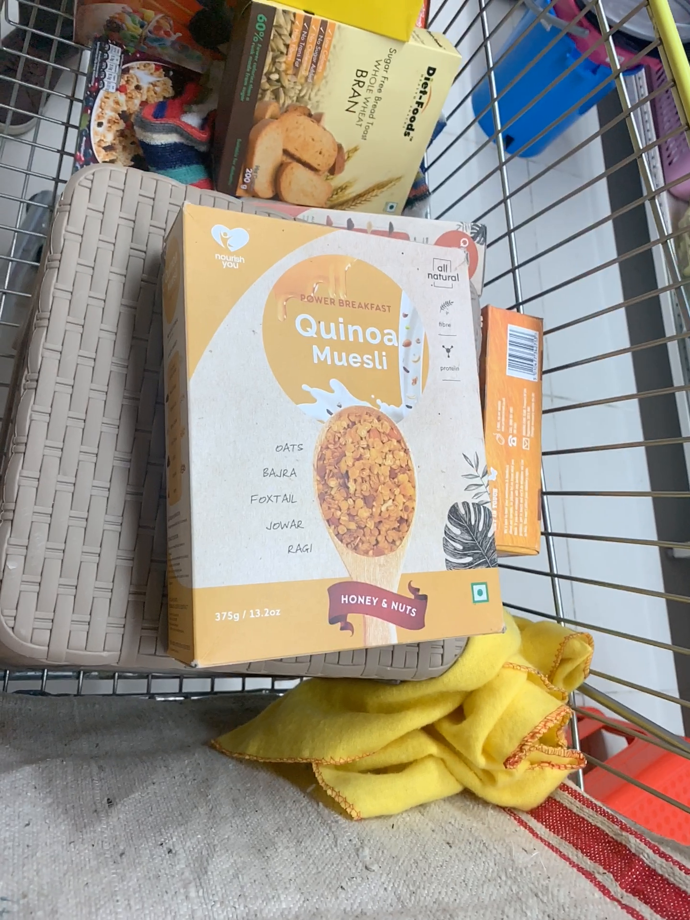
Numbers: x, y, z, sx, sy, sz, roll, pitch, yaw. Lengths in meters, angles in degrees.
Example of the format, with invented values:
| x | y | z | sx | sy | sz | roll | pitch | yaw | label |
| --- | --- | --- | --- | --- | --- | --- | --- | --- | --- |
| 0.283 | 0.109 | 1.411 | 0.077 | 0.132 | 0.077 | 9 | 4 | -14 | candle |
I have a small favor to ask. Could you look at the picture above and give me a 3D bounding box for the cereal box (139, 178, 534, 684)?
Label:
| x | y | z | sx | sy | sz | roll | pitch | yaw | label |
| --- | --- | --- | --- | --- | --- | --- | --- | --- | --- |
| -0.009 | -0.009 | 0.343 | 0.160 | 0.080 | 0.200 | 1 | 80 | -25 | cereal box |
